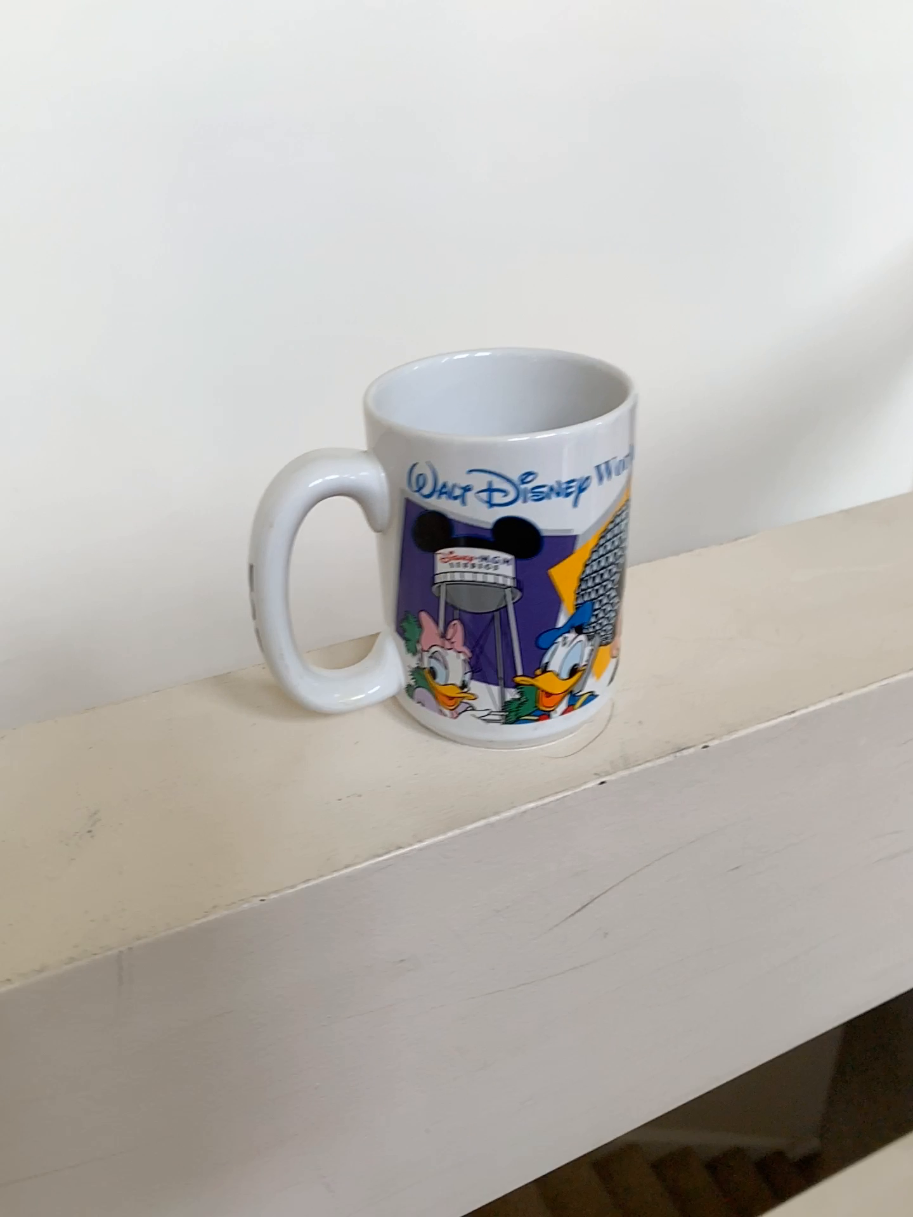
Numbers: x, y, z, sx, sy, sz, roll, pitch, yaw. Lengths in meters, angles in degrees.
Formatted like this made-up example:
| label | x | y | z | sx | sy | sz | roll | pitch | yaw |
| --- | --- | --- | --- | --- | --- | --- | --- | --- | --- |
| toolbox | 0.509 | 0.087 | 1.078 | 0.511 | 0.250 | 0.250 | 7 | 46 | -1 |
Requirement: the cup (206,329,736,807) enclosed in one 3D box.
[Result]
| label | x | y | z | sx | sy | sz | roll | pitch | yaw |
| --- | --- | --- | --- | --- | --- | --- | --- | --- | --- |
| cup | 0.002 | -0.019 | 0.309 | 0.140 | 0.109 | 0.080 | -11 | 31 | -14 |
